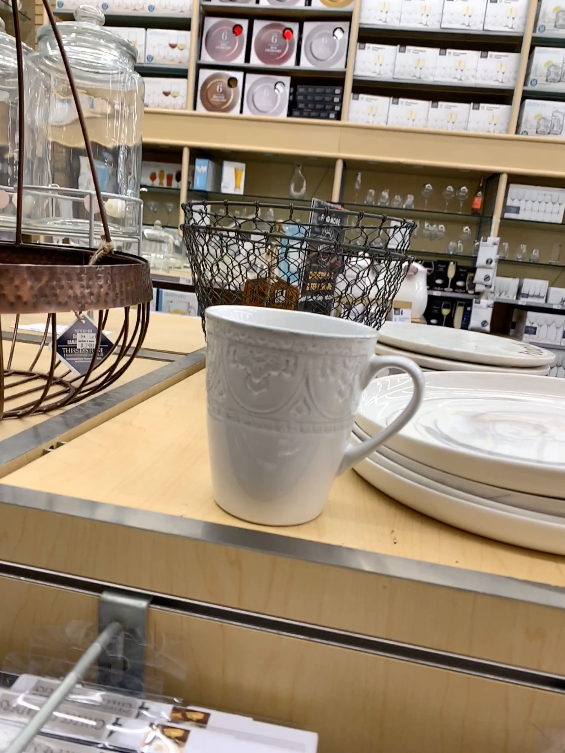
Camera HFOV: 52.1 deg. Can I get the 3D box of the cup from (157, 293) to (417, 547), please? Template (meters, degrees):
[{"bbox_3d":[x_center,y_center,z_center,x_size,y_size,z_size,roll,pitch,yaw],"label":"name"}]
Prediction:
[{"bbox_3d":[0.008,0.015,0.339,0.124,0.107,0.099,8,13,11],"label":"cup"}]
